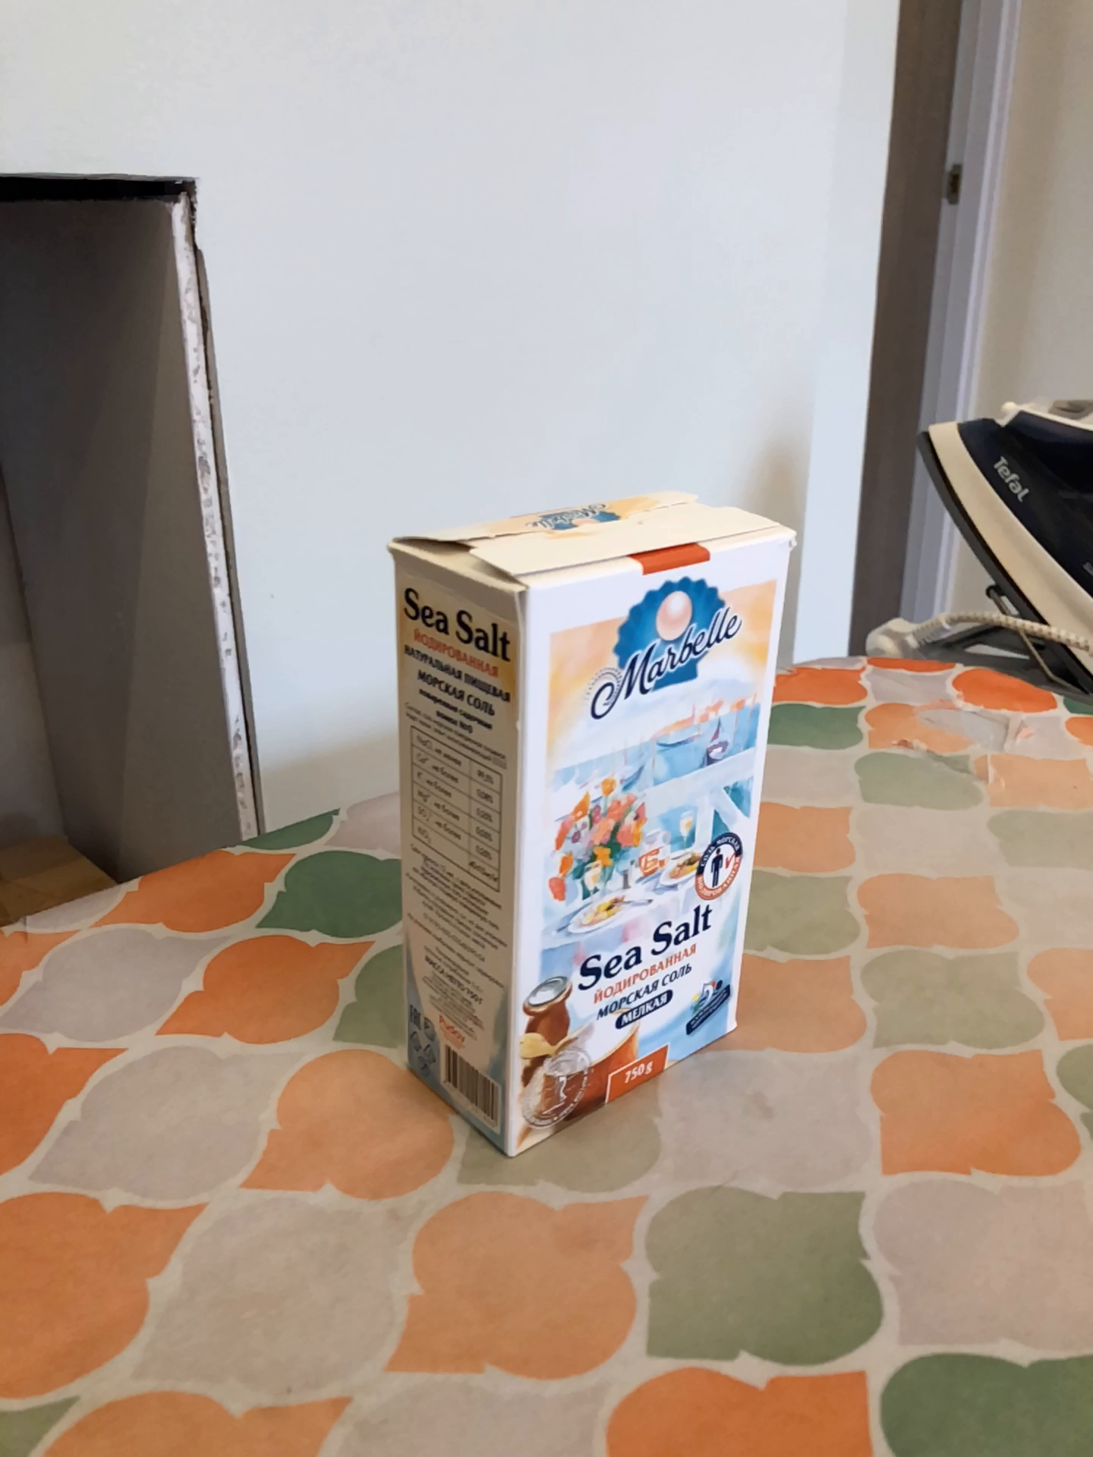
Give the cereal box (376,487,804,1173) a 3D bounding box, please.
[{"bbox_3d":[0.010,0.024,0.353,0.100,0.169,0.060,-16,29,-38],"label":"cereal box"}]
